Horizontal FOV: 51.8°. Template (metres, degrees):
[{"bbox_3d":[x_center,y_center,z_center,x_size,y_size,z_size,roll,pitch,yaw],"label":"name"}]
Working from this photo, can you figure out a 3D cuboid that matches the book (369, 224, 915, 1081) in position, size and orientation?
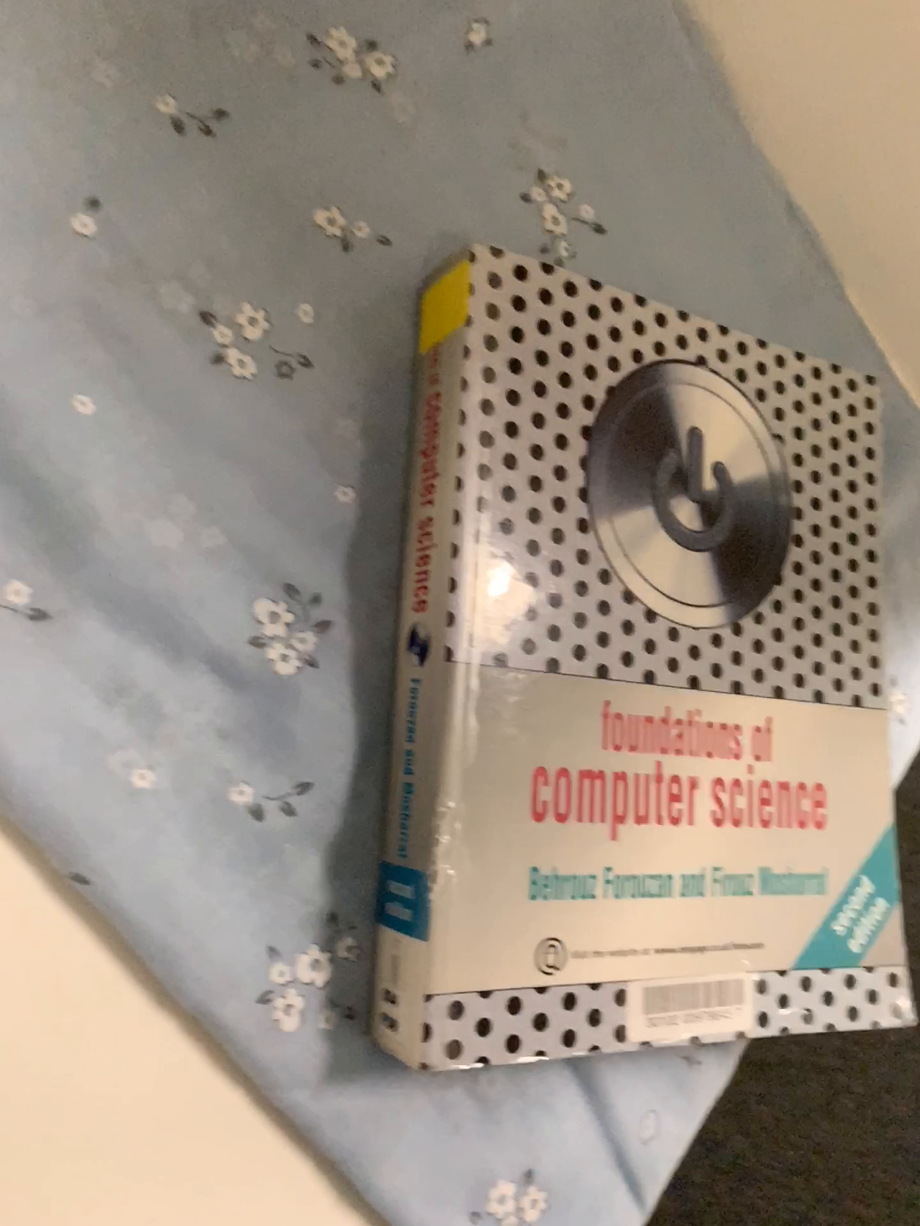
[{"bbox_3d":[0.073,0.015,0.330,0.192,0.040,0.246,8,79,-27],"label":"book"}]
